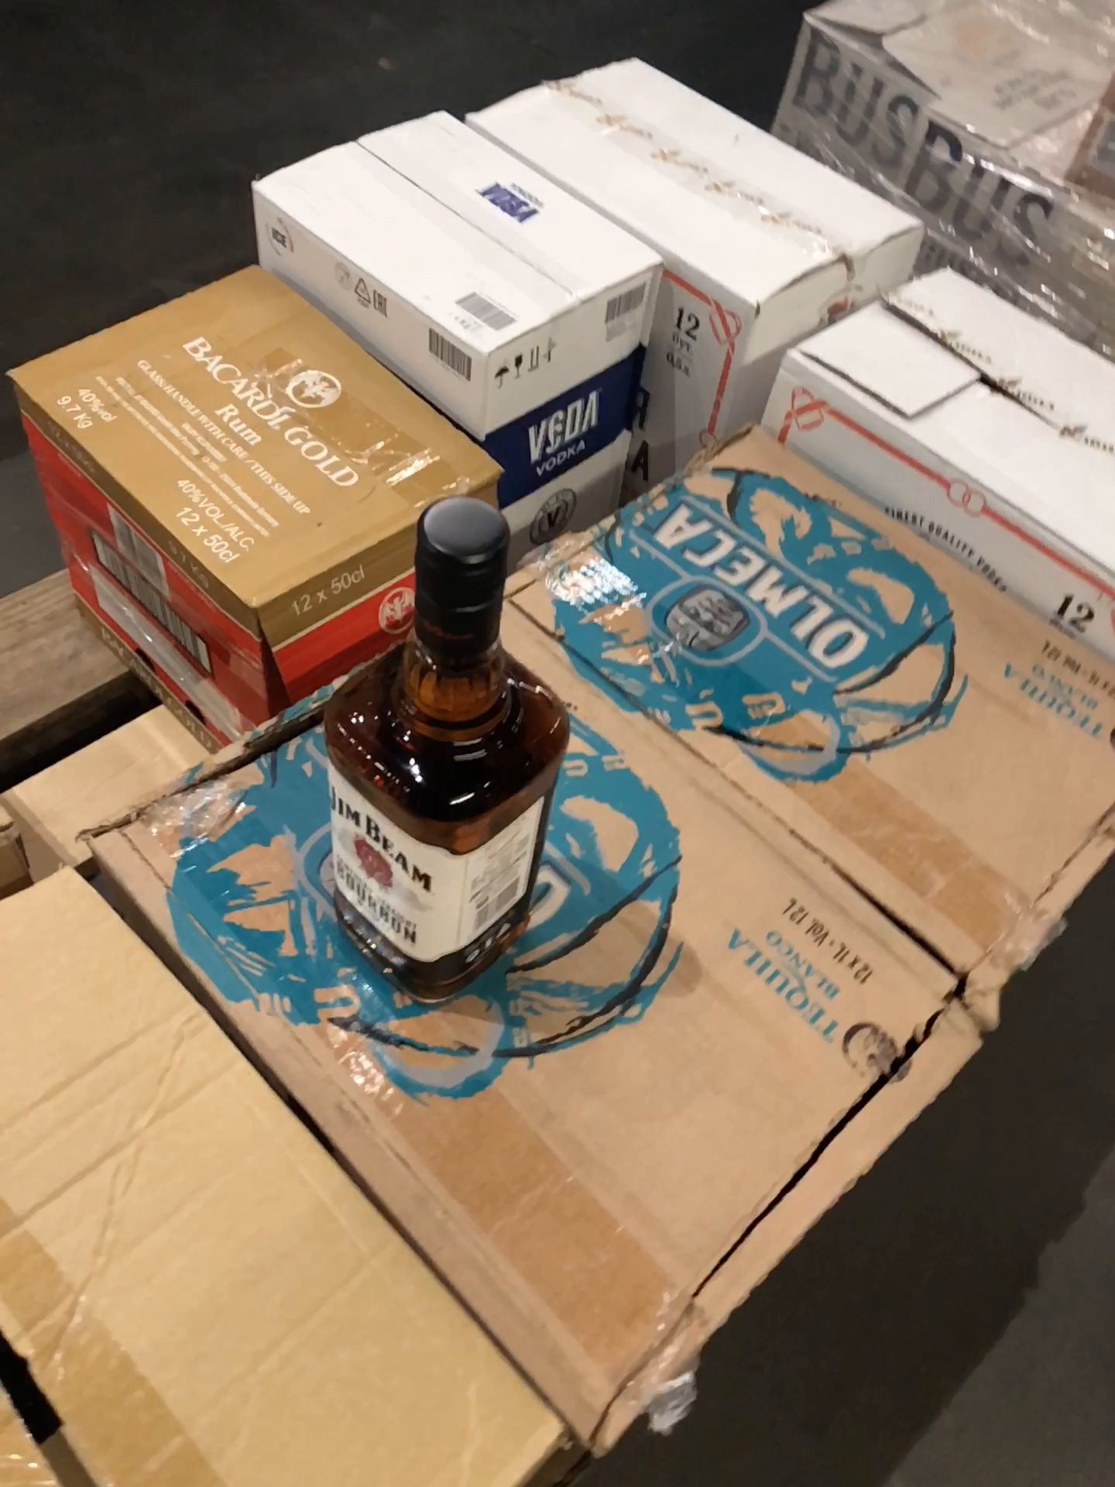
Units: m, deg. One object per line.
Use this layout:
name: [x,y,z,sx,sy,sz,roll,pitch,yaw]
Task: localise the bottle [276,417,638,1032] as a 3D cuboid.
bottle: [-0.047,0.009,0.513,0.091,0.263,0.081,40,58,21]
